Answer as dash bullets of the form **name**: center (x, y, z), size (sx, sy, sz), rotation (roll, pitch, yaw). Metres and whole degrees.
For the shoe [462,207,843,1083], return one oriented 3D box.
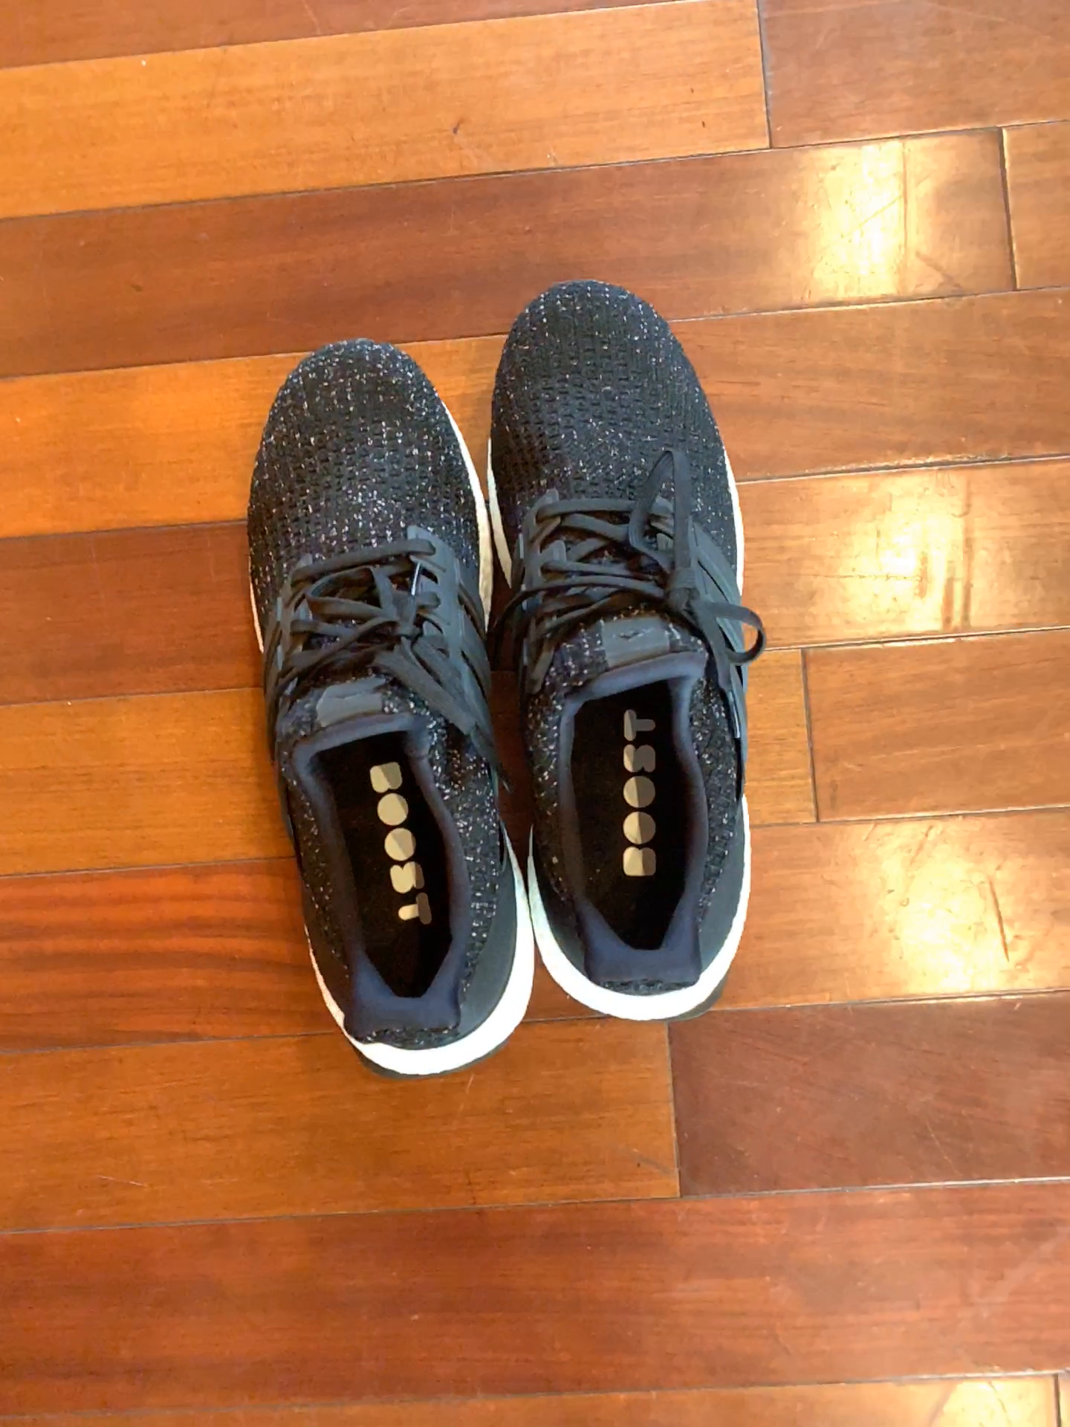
- **shoe**: center (0.039, -0.023, 0.415), size (0.110, 0.100, 0.290), rotation (-3, 85, 2)

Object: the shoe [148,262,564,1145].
- **shoe**: center (-0.065, -0.004, 0.435), size (0.110, 0.100, 0.300), rotation (-8, 84, 2)
